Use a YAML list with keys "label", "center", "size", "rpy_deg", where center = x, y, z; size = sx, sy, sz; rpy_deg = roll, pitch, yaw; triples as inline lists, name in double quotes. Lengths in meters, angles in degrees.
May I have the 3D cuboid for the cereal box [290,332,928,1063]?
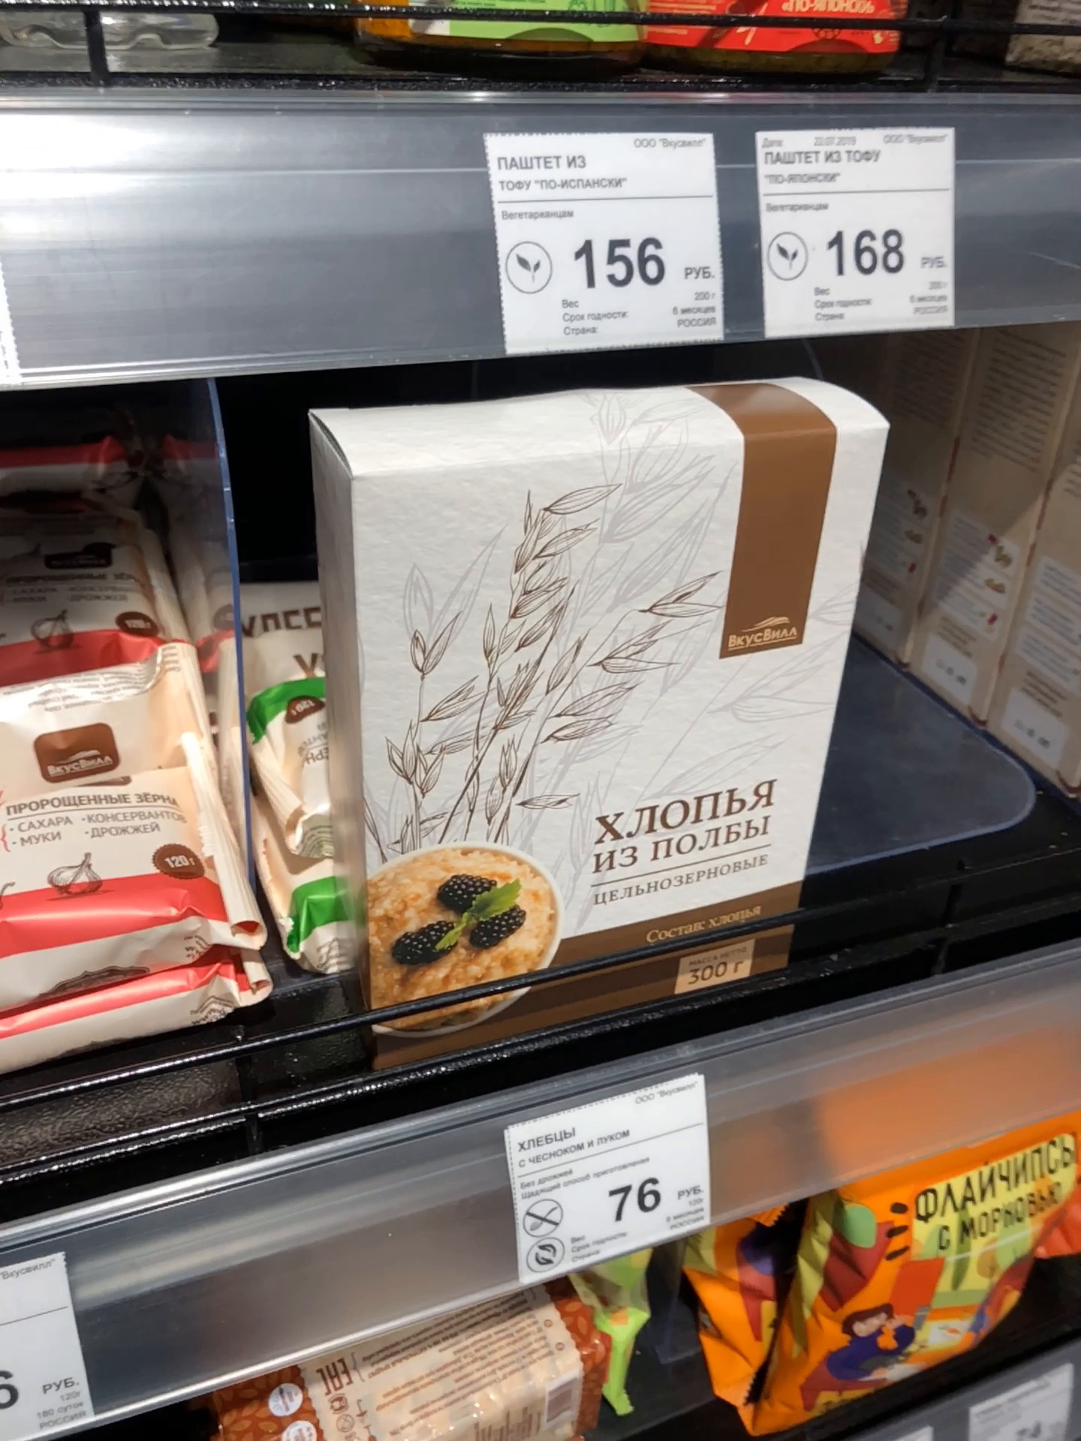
- label: "cereal box"
  center: [0.015, -0.005, 0.344]
  size: [0.150, 0.189, 0.050]
  rpy_deg: [-9, 33, -18]
